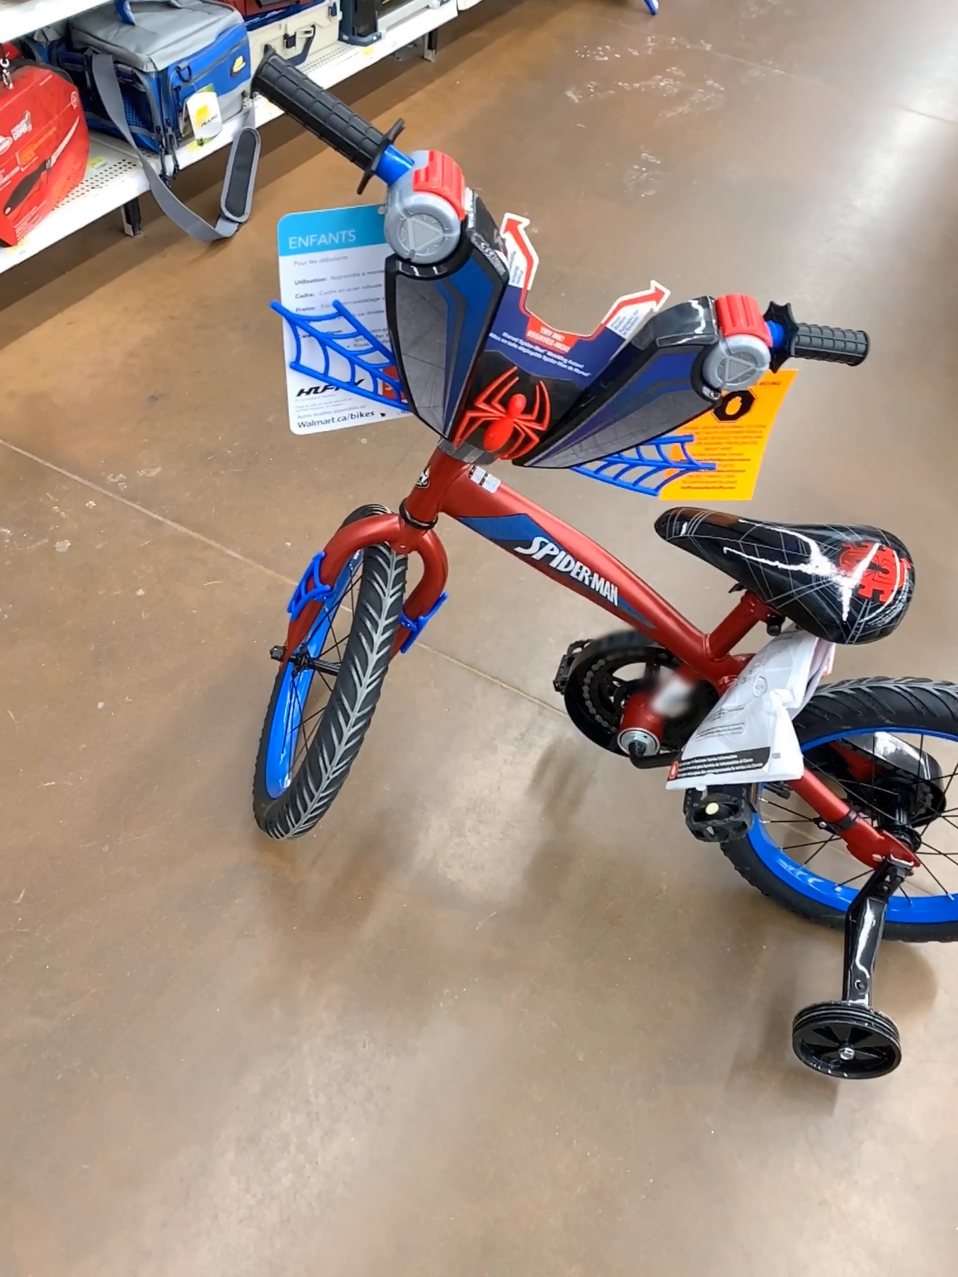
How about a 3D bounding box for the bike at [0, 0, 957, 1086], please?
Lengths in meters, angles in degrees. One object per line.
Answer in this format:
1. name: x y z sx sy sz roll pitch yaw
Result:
1. bike: 0.148 -0.018 0.767 0.565 0.709 0.477 8 49 1
